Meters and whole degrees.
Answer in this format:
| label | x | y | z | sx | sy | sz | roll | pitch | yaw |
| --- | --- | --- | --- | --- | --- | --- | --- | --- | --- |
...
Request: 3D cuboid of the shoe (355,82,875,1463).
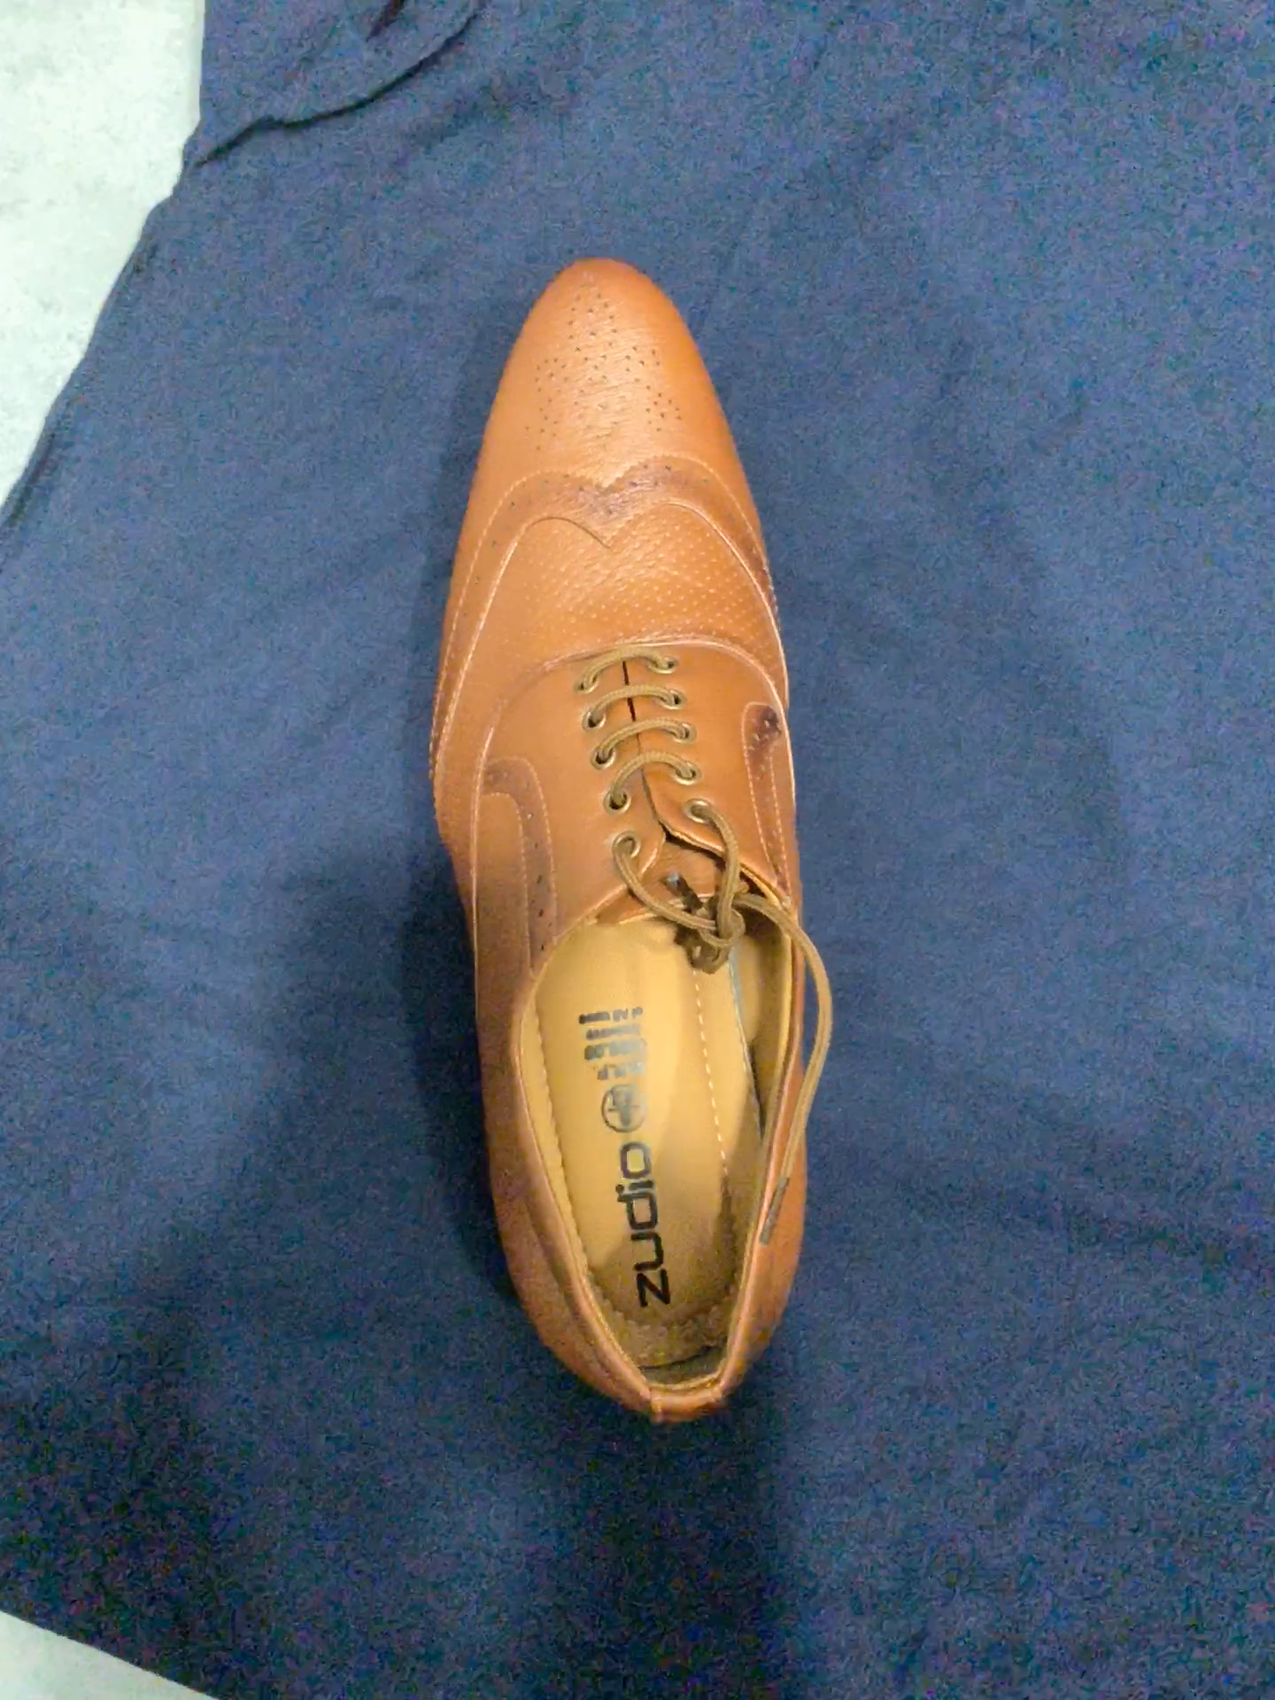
| label | x | y | z | sx | sy | sz | roll | pitch | yaw |
| --- | --- | --- | --- | --- | --- | --- | --- | --- | --- |
| shoe | -0.009 | -0.023 | 0.349 | 0.100 | 0.090 | 0.320 | -4 | 82 | 0 |
